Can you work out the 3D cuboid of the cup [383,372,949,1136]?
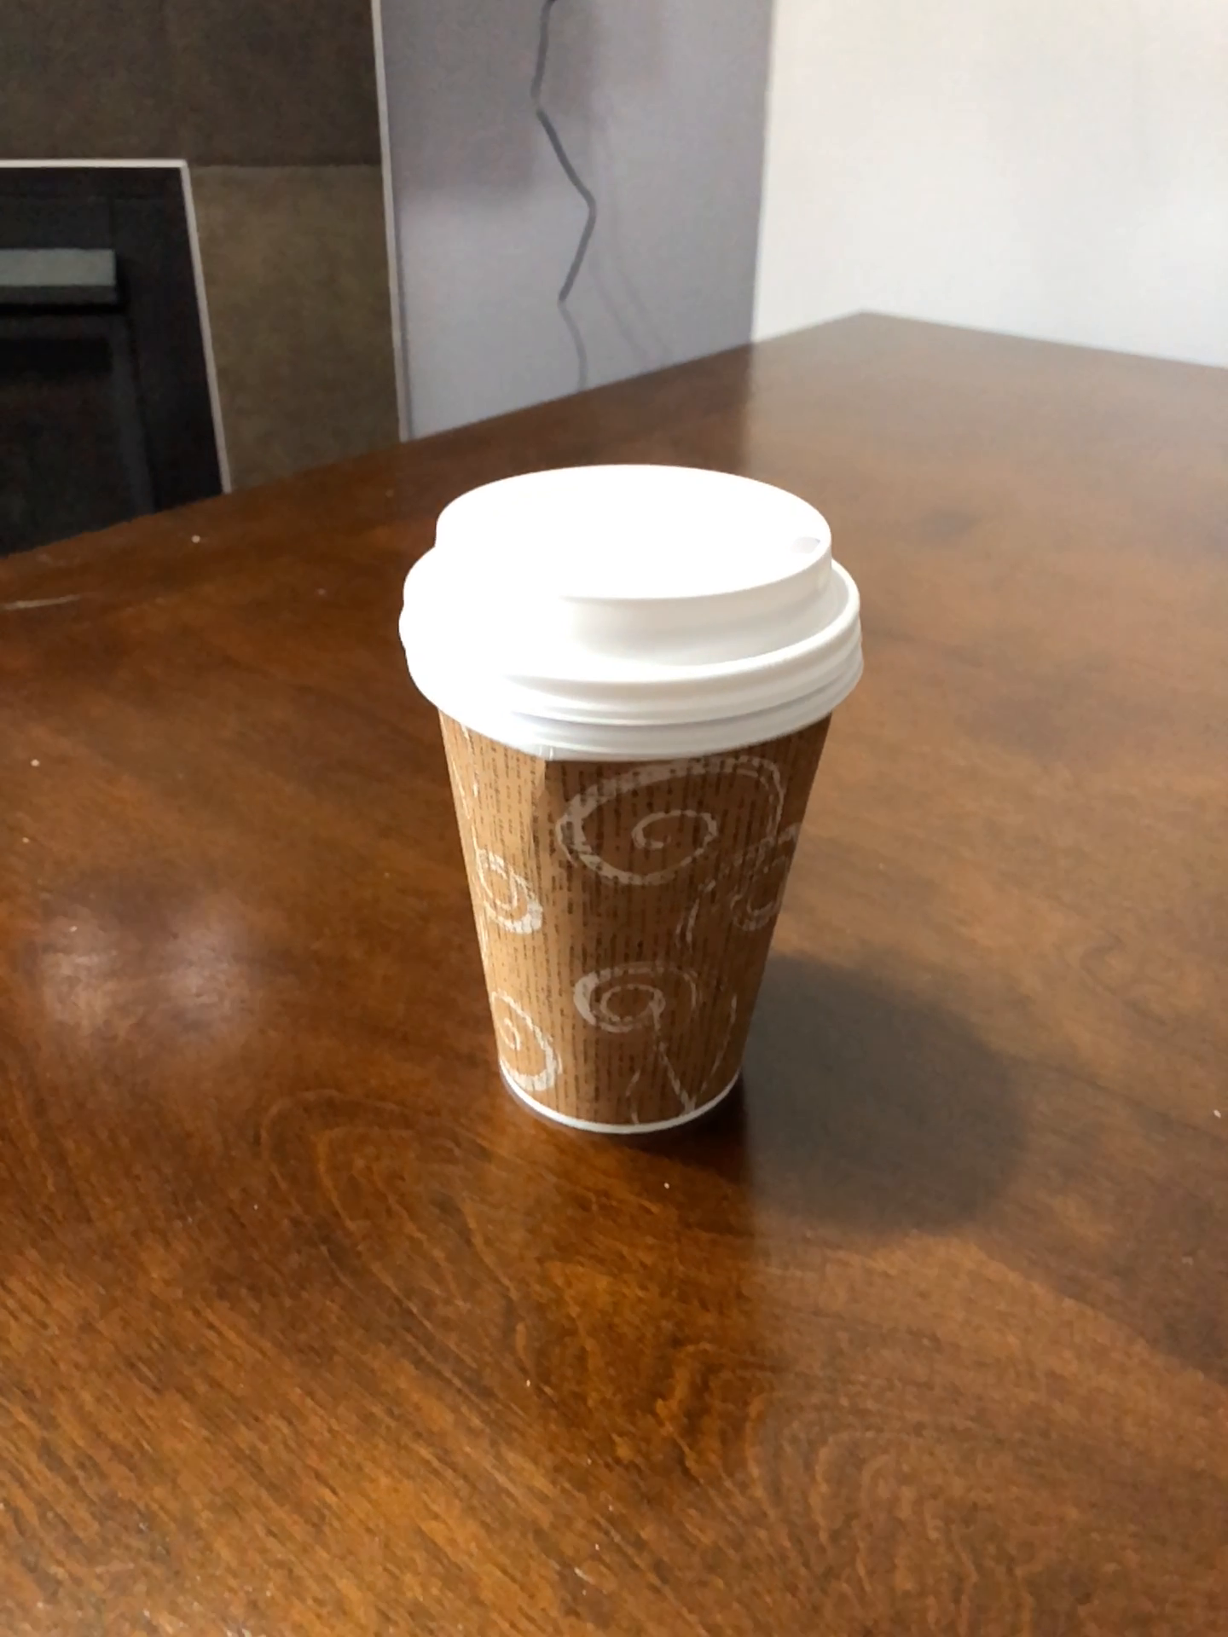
[{"bbox_3d":[0.006,-0.013,0.230,0.070,0.100,0.080,1,30,0],"label":"cup"}]
